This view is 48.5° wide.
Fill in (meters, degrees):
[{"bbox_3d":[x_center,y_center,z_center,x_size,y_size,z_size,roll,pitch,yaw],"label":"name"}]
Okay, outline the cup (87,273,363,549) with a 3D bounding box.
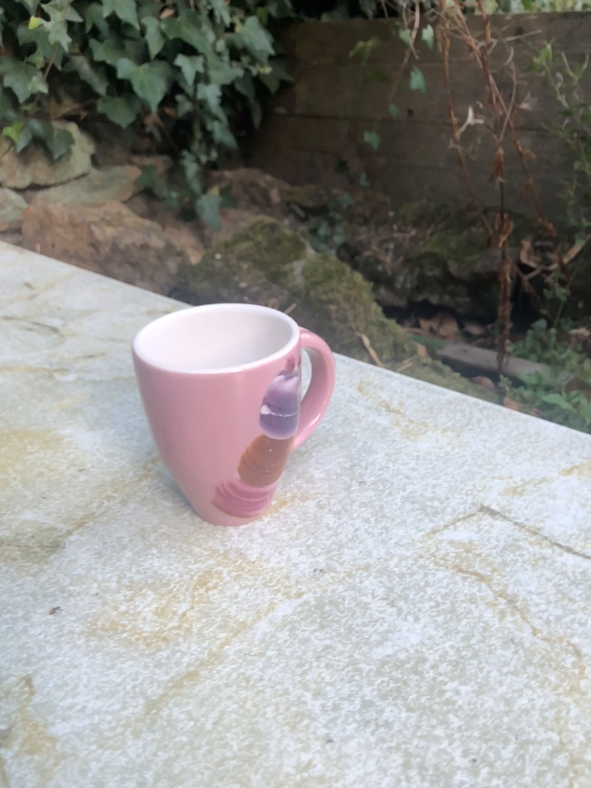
[{"bbox_3d":[-0.031,0.001,0.318,0.099,0.080,0.080,-22,35,-30],"label":"cup"}]
